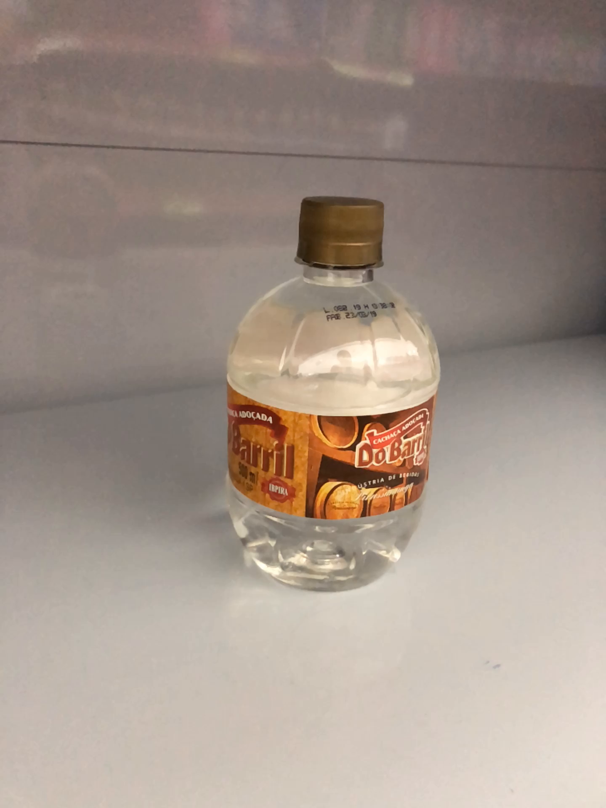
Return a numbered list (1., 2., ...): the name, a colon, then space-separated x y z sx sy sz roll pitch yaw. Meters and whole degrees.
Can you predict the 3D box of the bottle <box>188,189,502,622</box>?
1. bottle: 0.010 -0.008 0.267 0.080 0.139 0.080 3 21 -1
